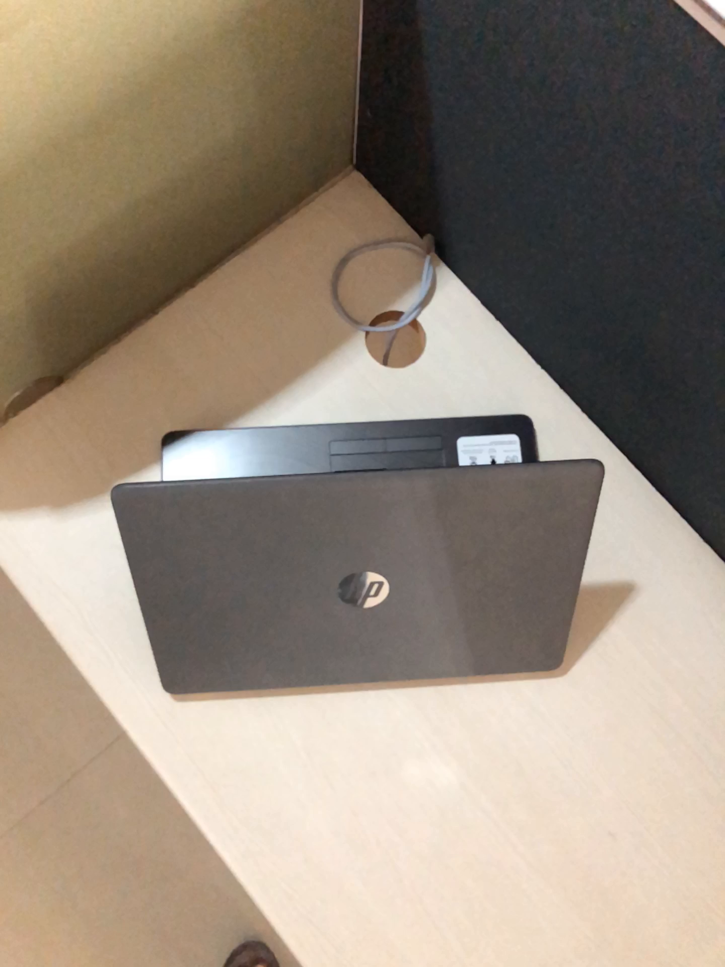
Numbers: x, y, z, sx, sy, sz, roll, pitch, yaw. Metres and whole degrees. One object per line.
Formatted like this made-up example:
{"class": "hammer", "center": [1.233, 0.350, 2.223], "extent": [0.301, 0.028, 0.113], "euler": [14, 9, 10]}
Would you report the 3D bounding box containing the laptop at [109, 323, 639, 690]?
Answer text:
{"class": "laptop", "center": [-0.002, 0.034, 0.668], "extent": [0.361, 0.205, 0.247], "euler": [-3, 78, -2]}
